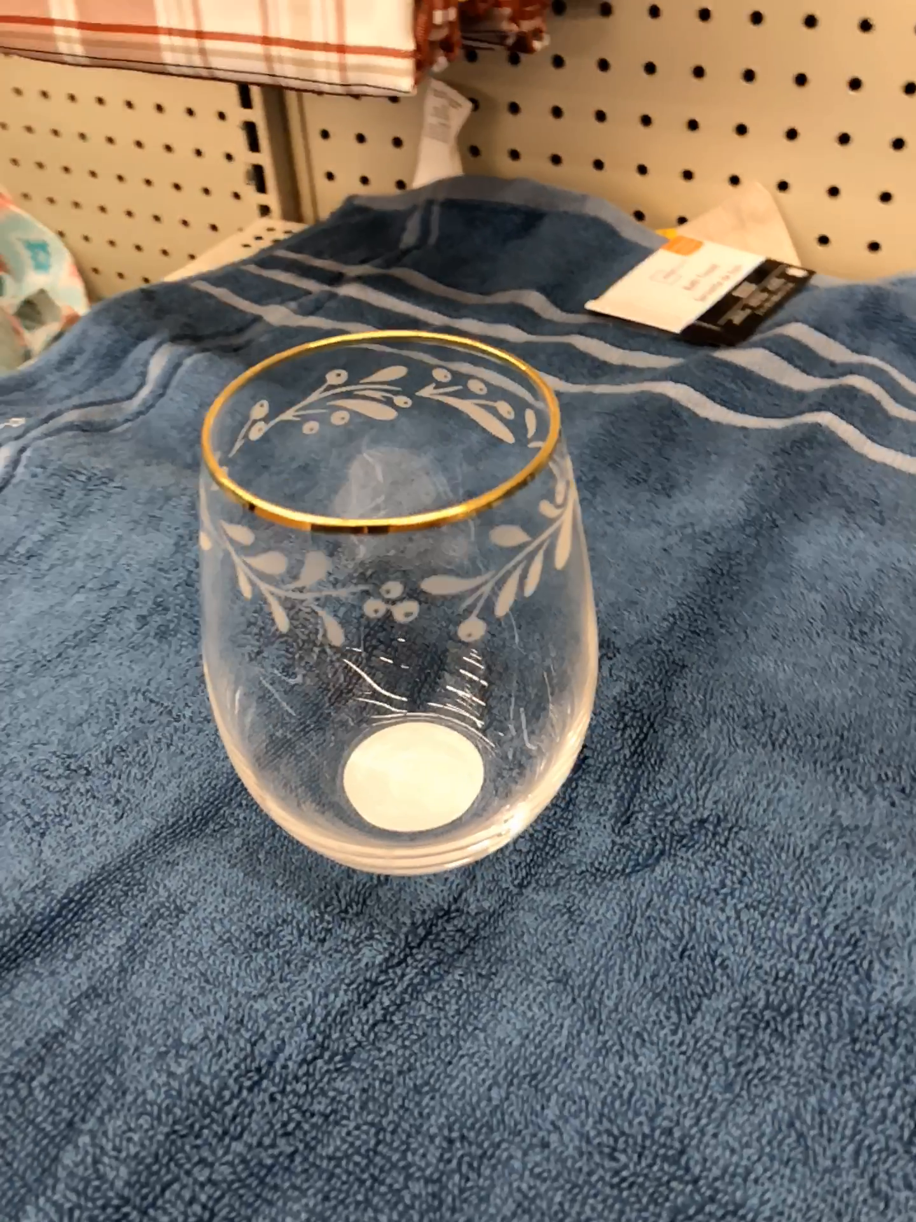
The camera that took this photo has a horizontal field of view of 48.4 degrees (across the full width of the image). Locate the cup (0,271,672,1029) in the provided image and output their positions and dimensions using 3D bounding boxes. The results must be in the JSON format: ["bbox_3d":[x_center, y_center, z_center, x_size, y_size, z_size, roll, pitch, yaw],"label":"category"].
[{"bbox_3d":[-0.020,0.003,0.211,0.090,0.100,0.090,-2,41,2],"label":"cup"}]
